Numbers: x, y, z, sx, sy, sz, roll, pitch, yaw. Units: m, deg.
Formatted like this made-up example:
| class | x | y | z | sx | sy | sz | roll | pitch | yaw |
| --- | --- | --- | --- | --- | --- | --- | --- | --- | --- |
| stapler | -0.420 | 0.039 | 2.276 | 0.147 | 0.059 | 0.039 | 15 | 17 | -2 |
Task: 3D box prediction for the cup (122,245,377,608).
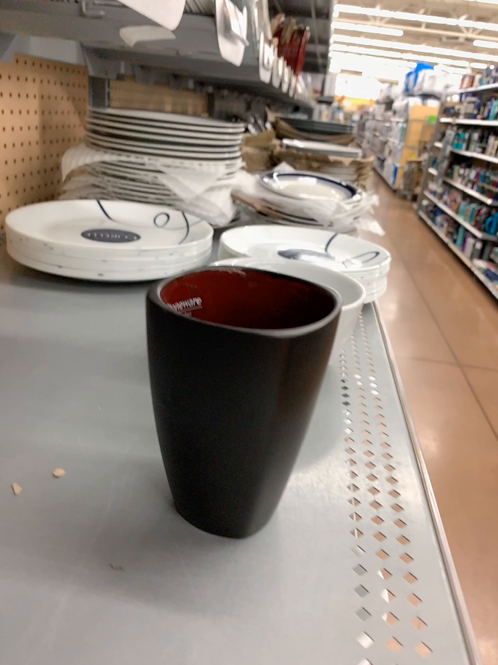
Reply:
| class | x | y | z | sx | sy | sz | roll | pitch | yaw |
| --- | --- | --- | --- | --- | --- | --- | --- | --- | --- |
| cup | 0.005 | 0.037 | 0.285 | 0.090 | 0.129 | 0.131 | 13 | 24 | 16 |
